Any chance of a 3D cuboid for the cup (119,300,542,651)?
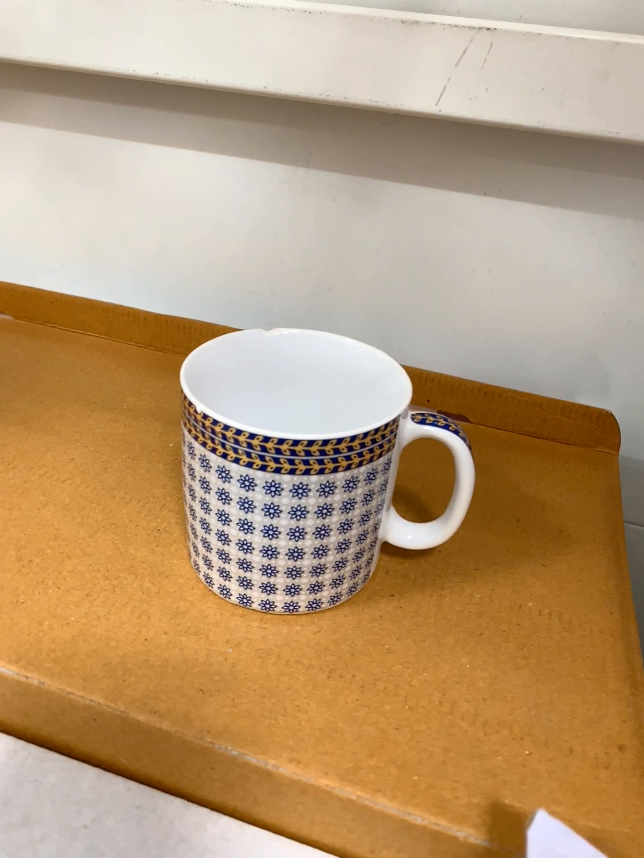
[{"bbox_3d":[0.003,0.010,0.224,0.110,0.069,0.081,8,30,3],"label":"cup"}]
